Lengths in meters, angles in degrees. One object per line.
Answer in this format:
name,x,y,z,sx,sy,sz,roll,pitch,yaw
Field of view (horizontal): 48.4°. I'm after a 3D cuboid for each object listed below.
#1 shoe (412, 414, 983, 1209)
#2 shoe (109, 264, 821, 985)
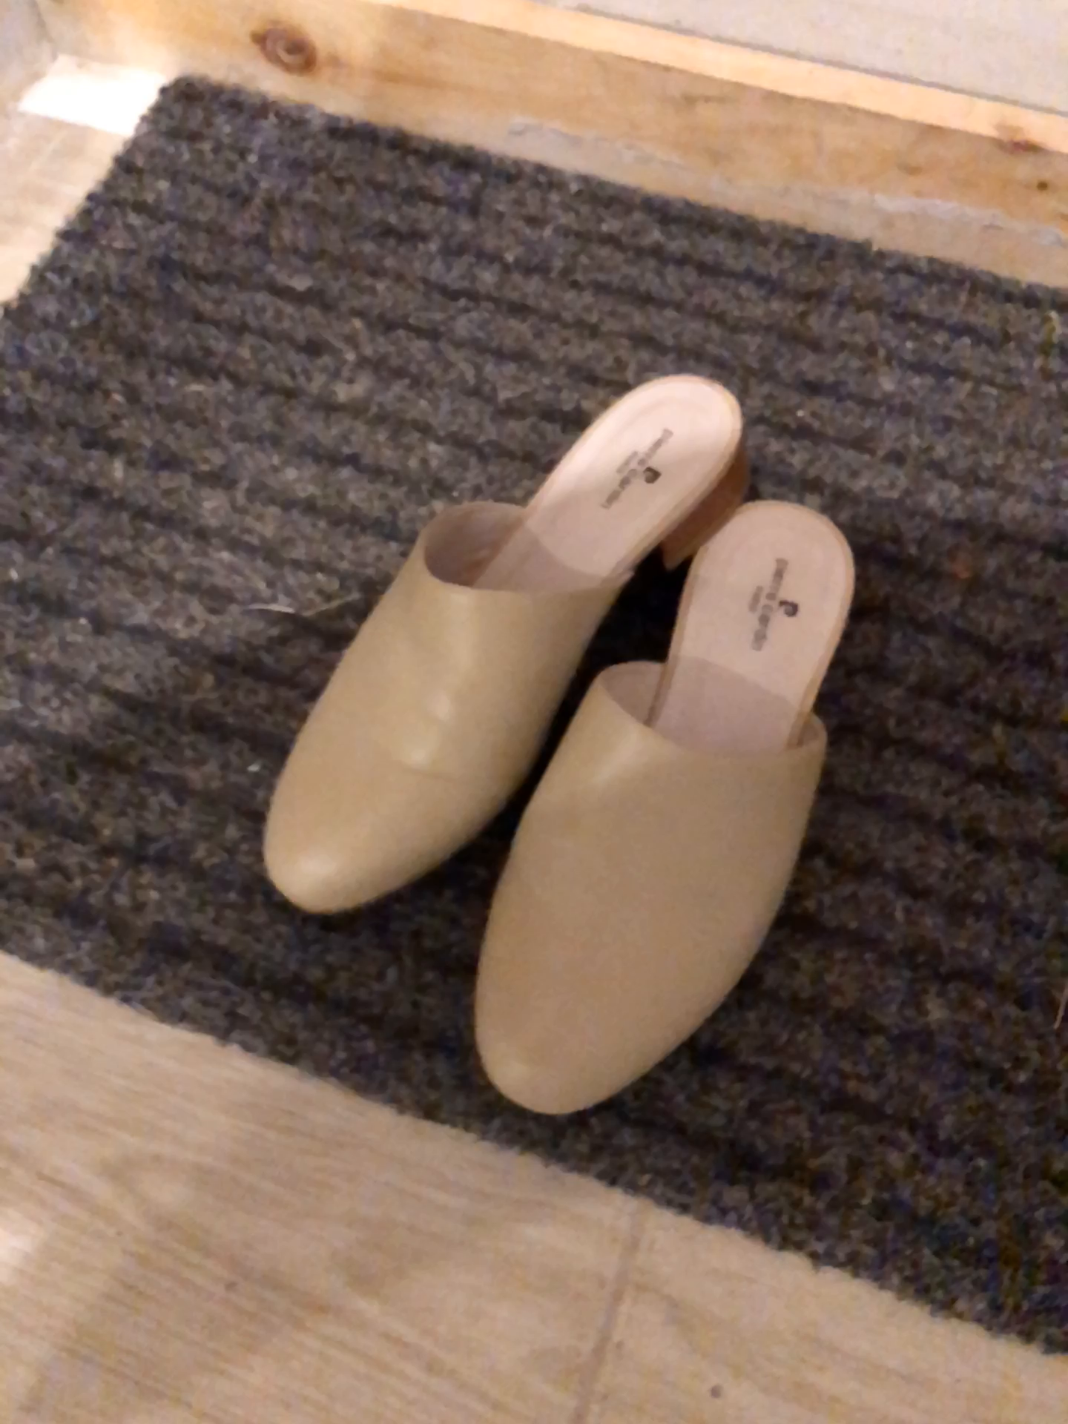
shoe,0.062,0.025,0.408,0.090,0.070,0.251,24,66,12
shoe,-0.013,-0.038,0.416,0.090,0.070,0.251,36,69,17
